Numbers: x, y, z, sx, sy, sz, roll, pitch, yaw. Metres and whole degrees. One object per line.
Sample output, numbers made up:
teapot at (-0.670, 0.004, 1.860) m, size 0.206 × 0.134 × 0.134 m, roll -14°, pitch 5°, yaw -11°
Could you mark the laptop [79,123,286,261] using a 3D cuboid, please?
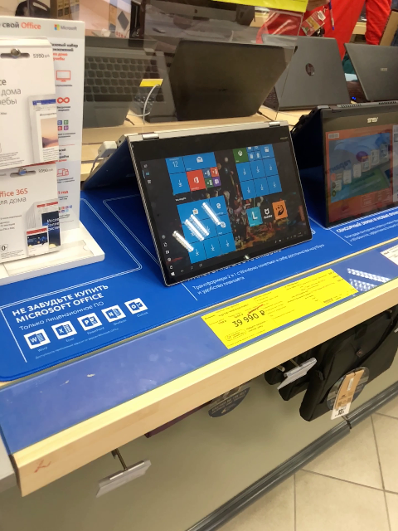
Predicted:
laptop at (-0.046, -0.139, 0.878) m, size 0.336 × 0.150 × 0.210 m, roll -16°, pitch 15°, yaw -33°
